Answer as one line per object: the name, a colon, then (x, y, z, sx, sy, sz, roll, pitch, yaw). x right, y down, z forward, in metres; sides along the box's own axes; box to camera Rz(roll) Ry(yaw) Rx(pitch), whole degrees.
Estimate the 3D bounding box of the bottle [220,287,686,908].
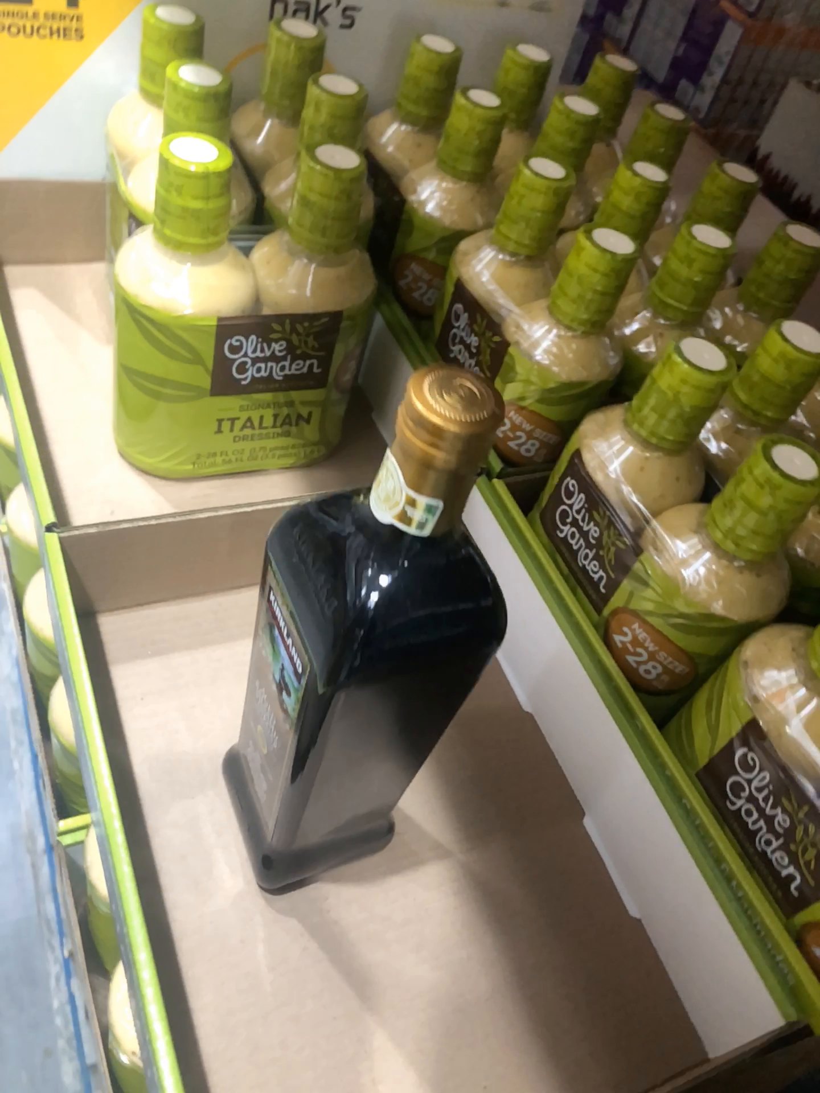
bottle: (-0.011, 0.045, 0.393, 0.090, 0.305, 0.090, 10, 48, -11)
